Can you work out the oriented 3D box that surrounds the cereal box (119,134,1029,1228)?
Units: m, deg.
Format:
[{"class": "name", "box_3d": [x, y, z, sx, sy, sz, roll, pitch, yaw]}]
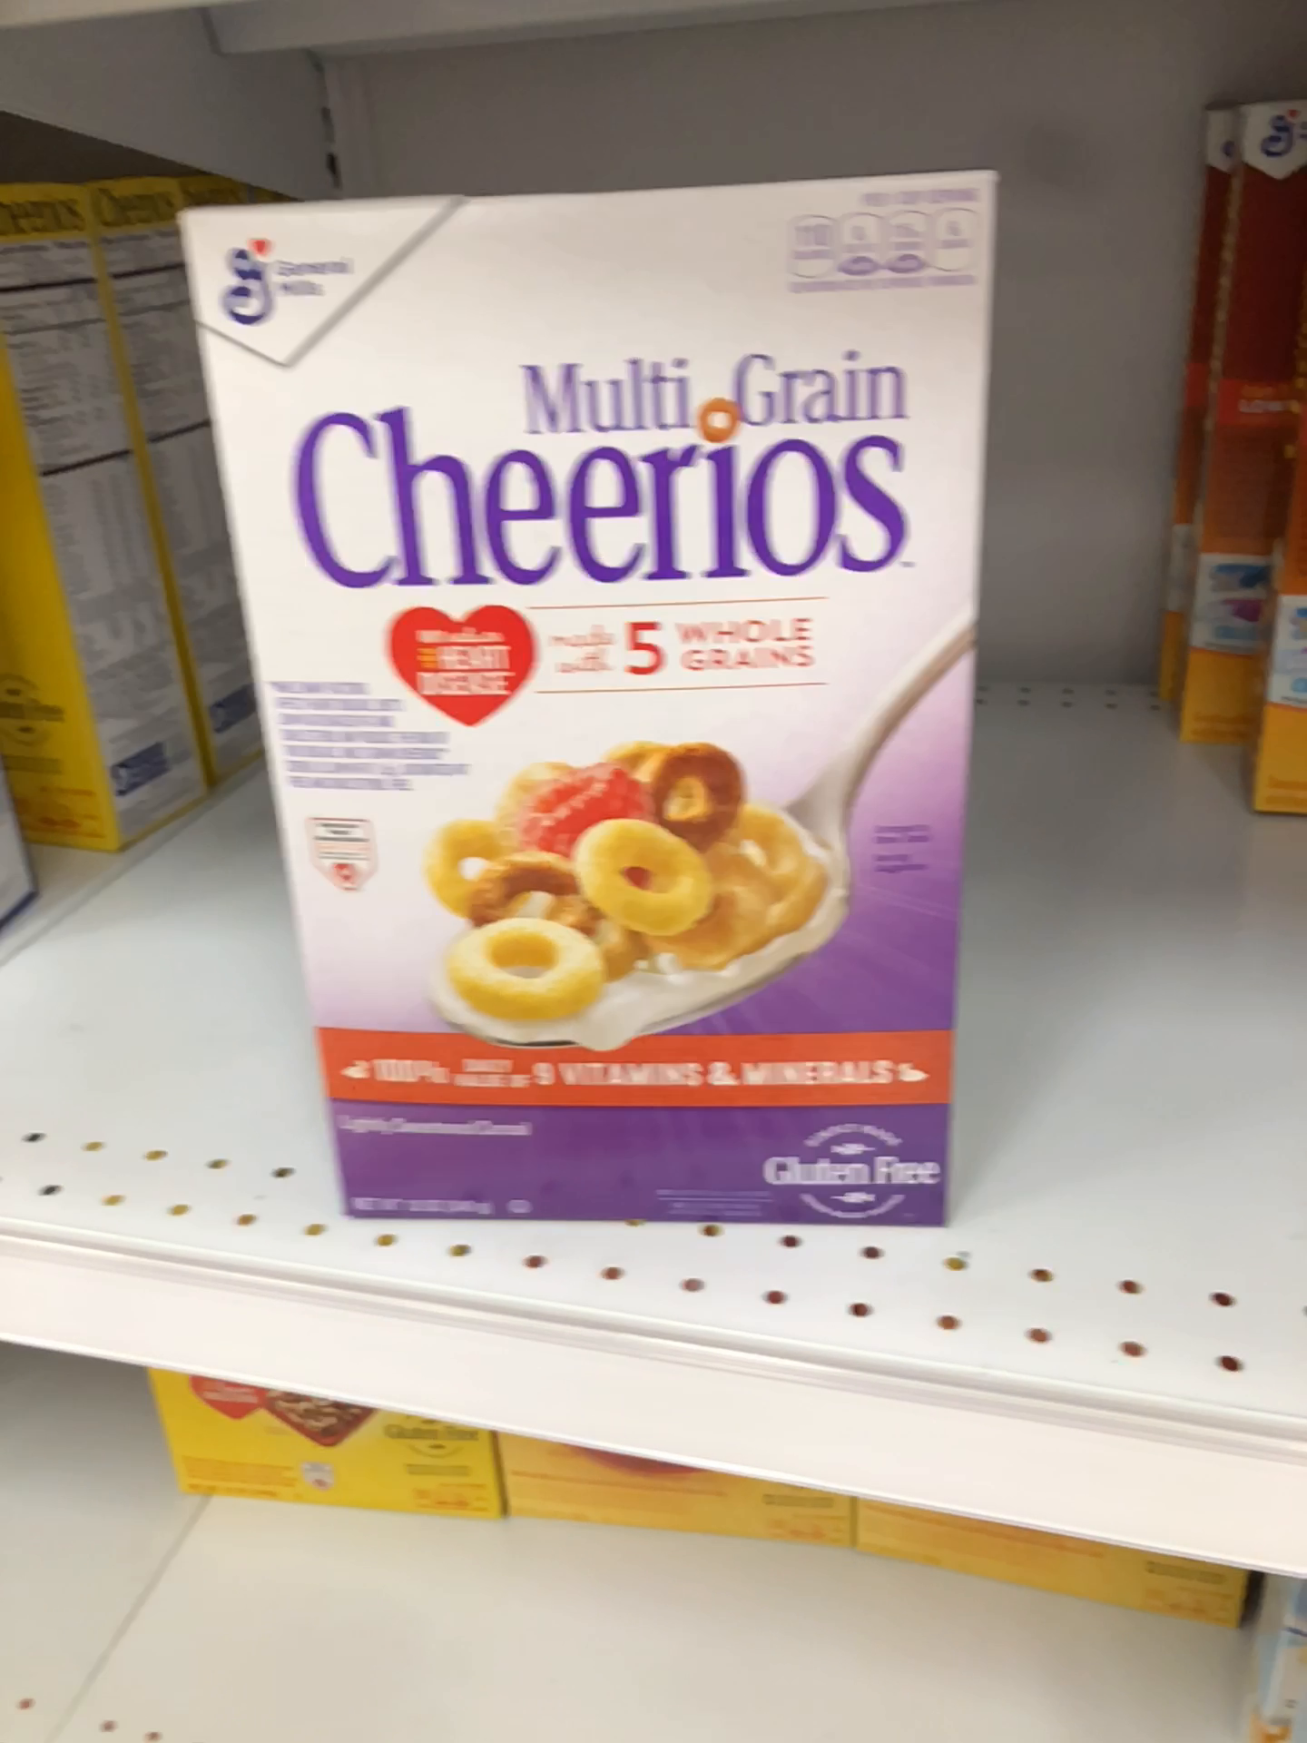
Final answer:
[{"class": "cereal box", "box_3d": [-0.011, -0.040, 0.424, 0.210, 0.299, 0.070, -1, 25, 6]}]
